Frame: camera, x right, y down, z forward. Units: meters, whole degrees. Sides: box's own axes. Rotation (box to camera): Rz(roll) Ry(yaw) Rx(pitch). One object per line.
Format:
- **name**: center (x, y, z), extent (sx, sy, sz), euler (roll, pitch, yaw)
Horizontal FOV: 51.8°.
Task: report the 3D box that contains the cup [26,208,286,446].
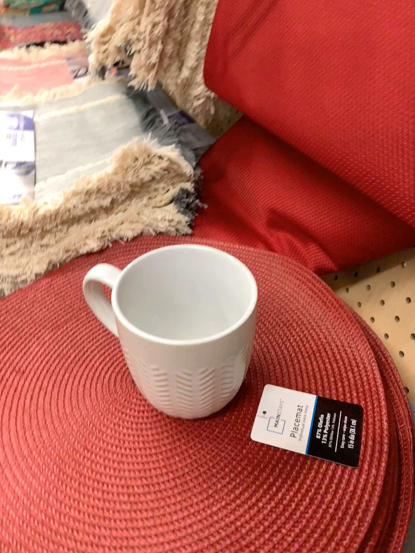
- **cup**: center (-0.034, 0.025, 0.307), extent (0.140, 0.090, 0.100), euler (19, 33, 20)
